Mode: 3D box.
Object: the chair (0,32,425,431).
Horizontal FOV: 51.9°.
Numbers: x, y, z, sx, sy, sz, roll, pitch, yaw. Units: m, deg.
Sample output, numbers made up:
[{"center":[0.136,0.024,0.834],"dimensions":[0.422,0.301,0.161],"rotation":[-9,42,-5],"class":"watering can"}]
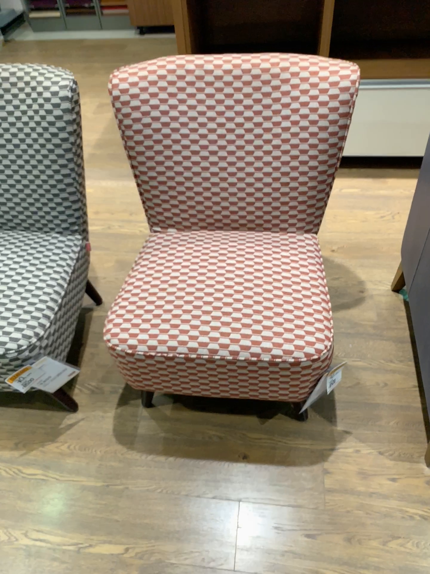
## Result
[{"center":[0.028,-0.114,1.226],"dimensions":[0.700,0.867,0.612],"rotation":[2,47,7],"class":"chair"}]
